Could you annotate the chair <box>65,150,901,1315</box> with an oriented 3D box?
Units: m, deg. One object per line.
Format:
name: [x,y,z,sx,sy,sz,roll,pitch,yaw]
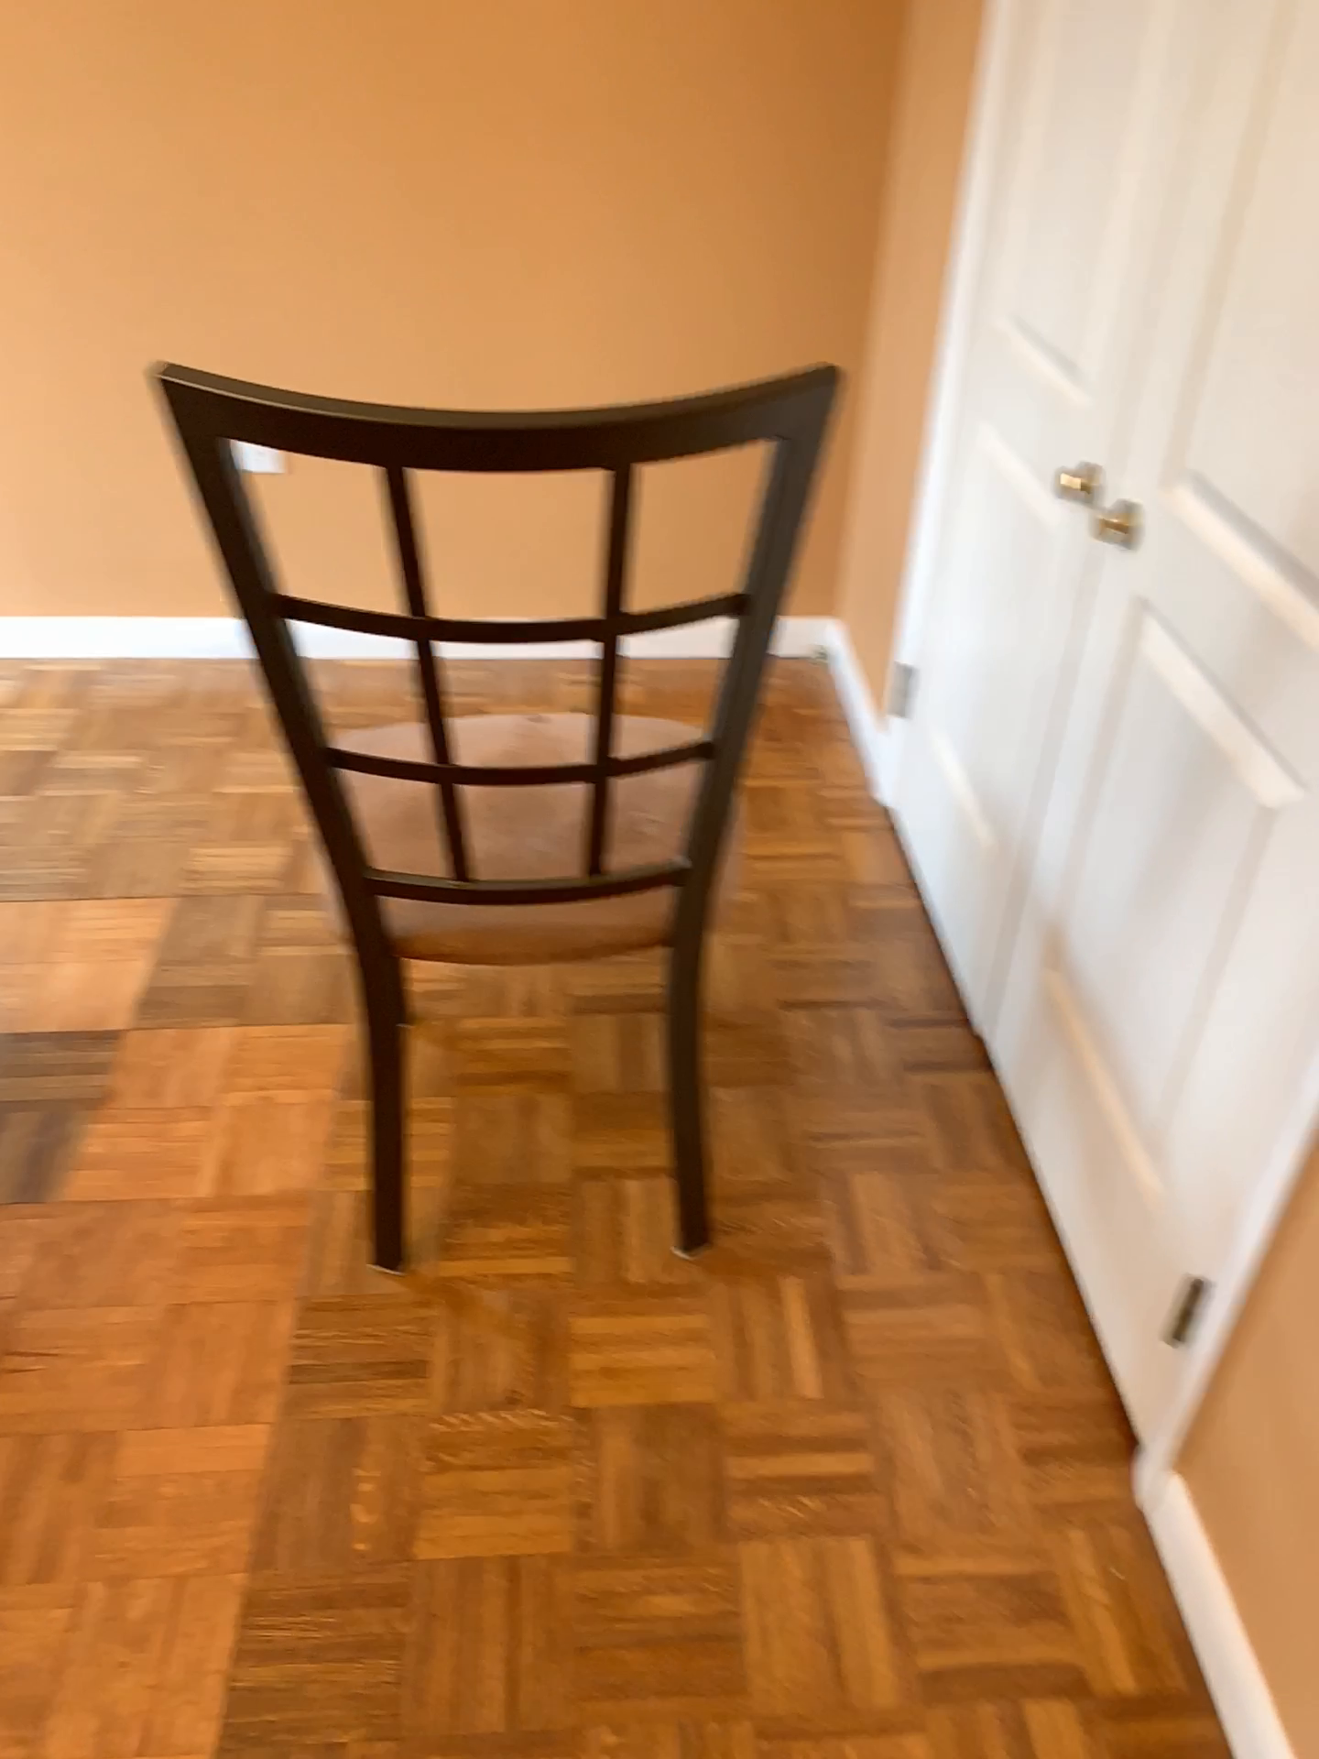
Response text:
chair: [-0.141,-0.126,1.373,0.510,0.984,0.624,-1,39,-4]
